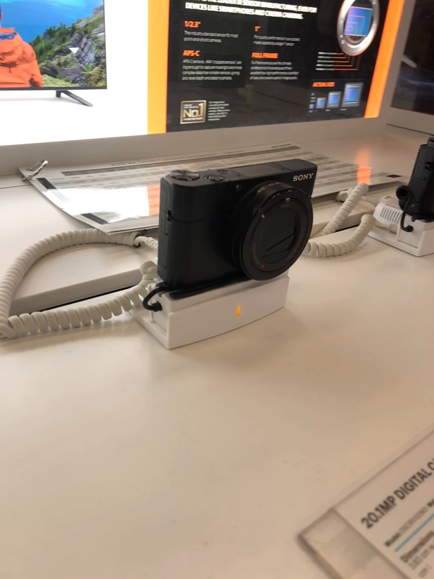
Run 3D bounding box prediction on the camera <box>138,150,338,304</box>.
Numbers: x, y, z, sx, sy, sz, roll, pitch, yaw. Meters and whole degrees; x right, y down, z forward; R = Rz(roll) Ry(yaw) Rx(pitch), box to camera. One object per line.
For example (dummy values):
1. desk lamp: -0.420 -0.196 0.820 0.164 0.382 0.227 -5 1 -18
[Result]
1. camera: 0.013 -0.041 0.276 0.110 0.060 0.040 -18 35 -35
